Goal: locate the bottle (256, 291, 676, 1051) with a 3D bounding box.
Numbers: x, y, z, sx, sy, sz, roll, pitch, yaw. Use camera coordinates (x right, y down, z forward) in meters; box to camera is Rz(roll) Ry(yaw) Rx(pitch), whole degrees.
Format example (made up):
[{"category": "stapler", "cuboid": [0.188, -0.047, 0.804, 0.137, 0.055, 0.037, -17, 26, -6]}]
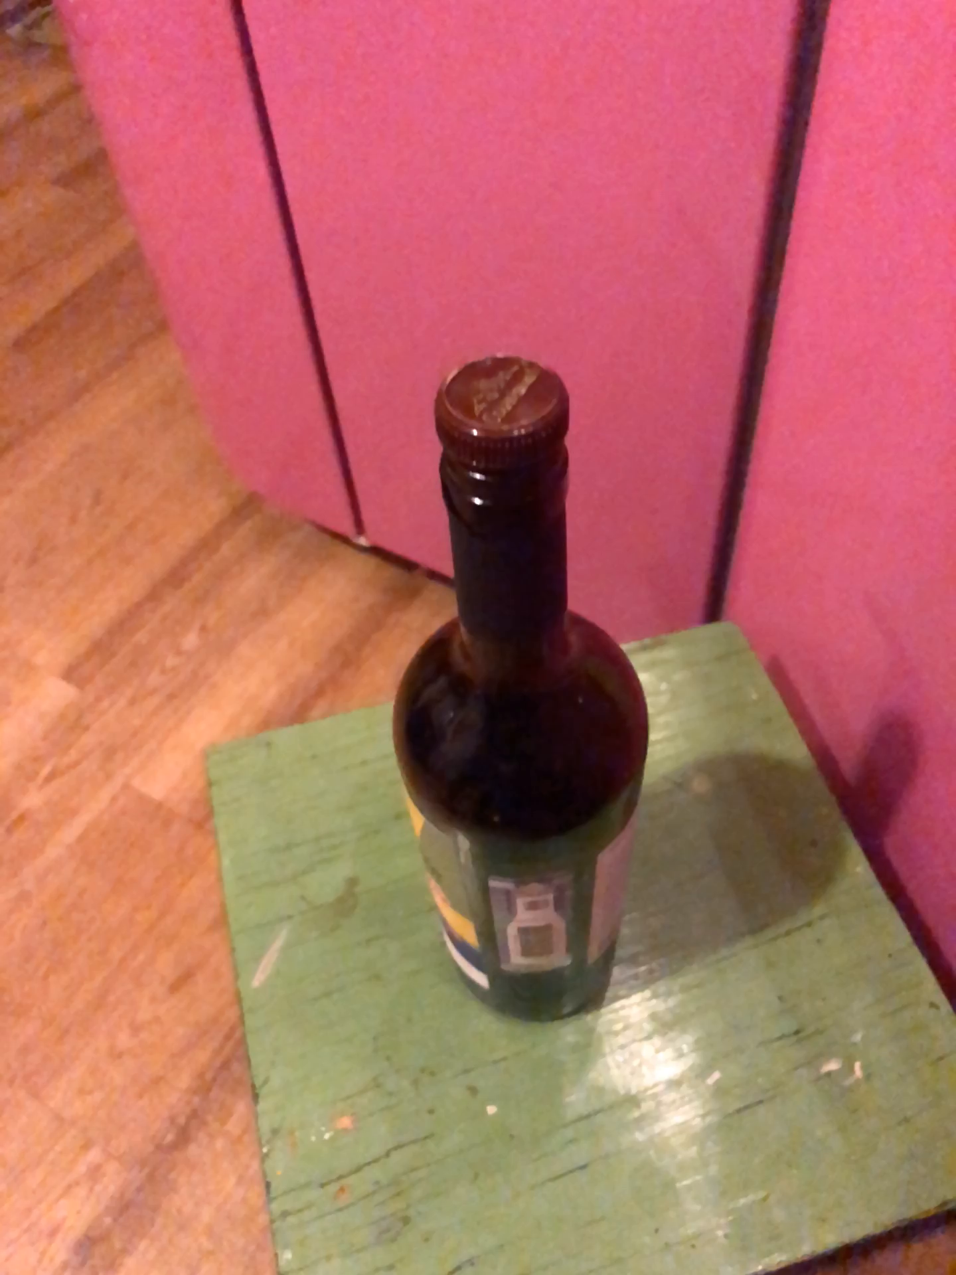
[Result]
[{"category": "bottle", "cuboid": [0.010, 0.044, 0.340, 0.071, 0.301, 0.072, -2, 53, 3]}]
